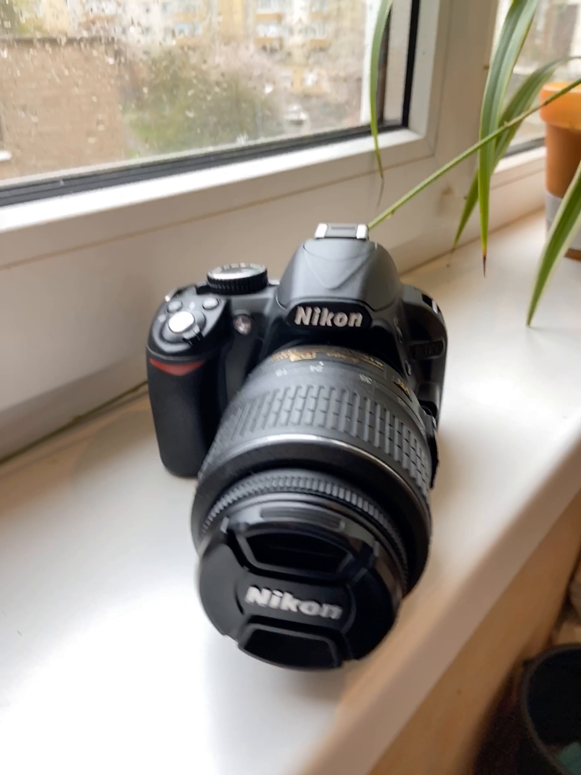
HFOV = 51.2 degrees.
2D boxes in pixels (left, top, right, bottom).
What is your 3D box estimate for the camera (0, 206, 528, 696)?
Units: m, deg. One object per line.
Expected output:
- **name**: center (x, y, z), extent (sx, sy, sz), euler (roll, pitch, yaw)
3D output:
- **camera**: center (-0.005, 0.002, 0.216), extent (0.124, 0.091, 0.155), euler (3, 30, 6)
